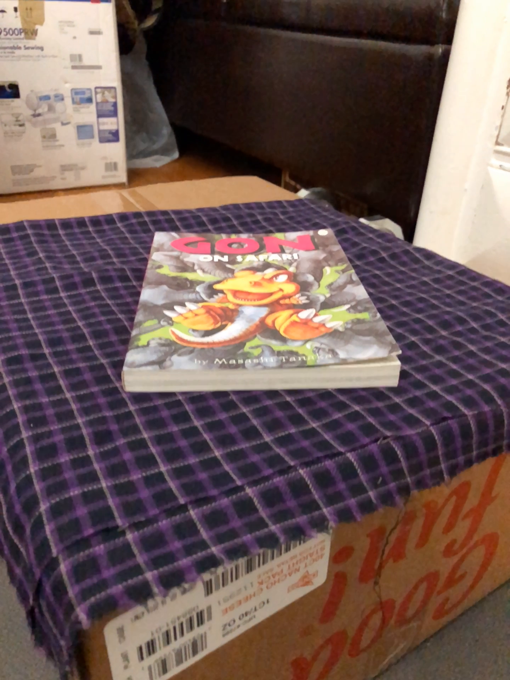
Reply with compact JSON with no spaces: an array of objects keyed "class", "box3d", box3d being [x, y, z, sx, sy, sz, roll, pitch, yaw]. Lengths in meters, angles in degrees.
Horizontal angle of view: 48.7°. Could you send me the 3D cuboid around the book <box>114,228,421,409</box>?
[{"class":"book","box3d":[0.001,-0.028,0.370,0.150,0.020,0.211,0,30,-4]}]
